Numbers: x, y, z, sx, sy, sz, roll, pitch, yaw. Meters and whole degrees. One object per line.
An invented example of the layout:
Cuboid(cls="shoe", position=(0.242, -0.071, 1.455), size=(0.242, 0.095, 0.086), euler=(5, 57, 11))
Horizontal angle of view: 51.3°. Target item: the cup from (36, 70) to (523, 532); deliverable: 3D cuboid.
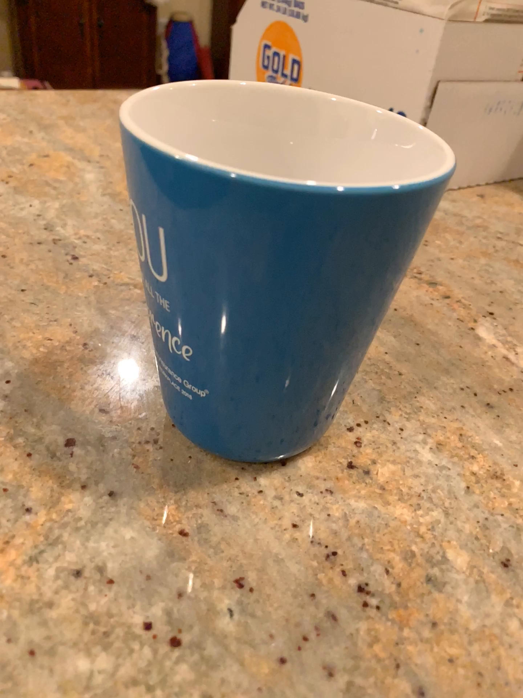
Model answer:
Cuboid(cls="cup", position=(-0.007, -0.035, 0.201), size=(0.099, 0.098, 0.138), euler=(-16, 41, -29))
